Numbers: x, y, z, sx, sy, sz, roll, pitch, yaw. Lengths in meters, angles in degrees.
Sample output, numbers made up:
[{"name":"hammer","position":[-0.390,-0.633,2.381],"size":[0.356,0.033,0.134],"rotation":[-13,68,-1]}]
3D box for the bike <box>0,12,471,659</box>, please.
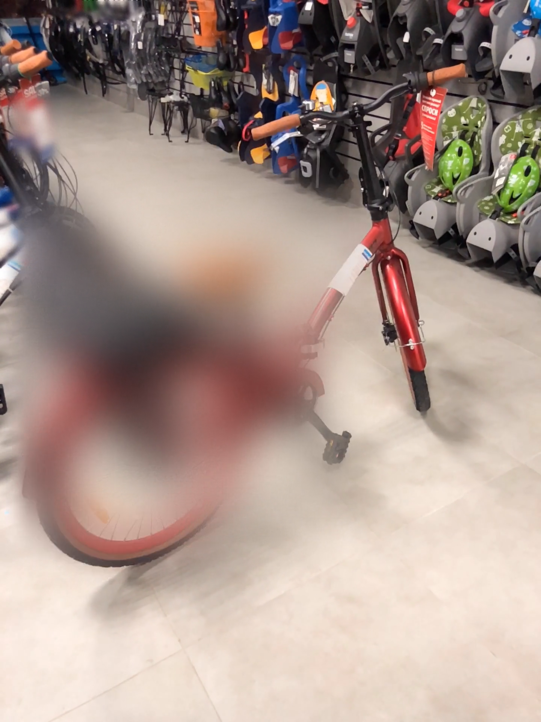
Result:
[{"name":"bike","position":[-0.056,-0.263,1.682],"size":[0.517,1.111,1.499],"rotation":[21,40,32]}]
